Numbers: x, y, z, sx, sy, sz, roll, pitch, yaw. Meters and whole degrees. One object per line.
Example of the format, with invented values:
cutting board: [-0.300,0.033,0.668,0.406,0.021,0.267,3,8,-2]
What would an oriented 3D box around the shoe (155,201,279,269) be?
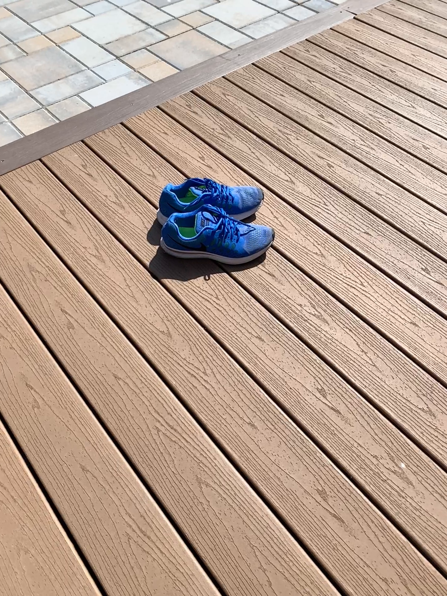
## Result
shoe: [-0.013,-0.157,1.139,0.290,0.105,0.120,2,53,2]

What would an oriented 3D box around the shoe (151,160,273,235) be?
shoe: [-0.032,-0.269,1.216,0.297,0.102,0.120,-10,54,-7]
